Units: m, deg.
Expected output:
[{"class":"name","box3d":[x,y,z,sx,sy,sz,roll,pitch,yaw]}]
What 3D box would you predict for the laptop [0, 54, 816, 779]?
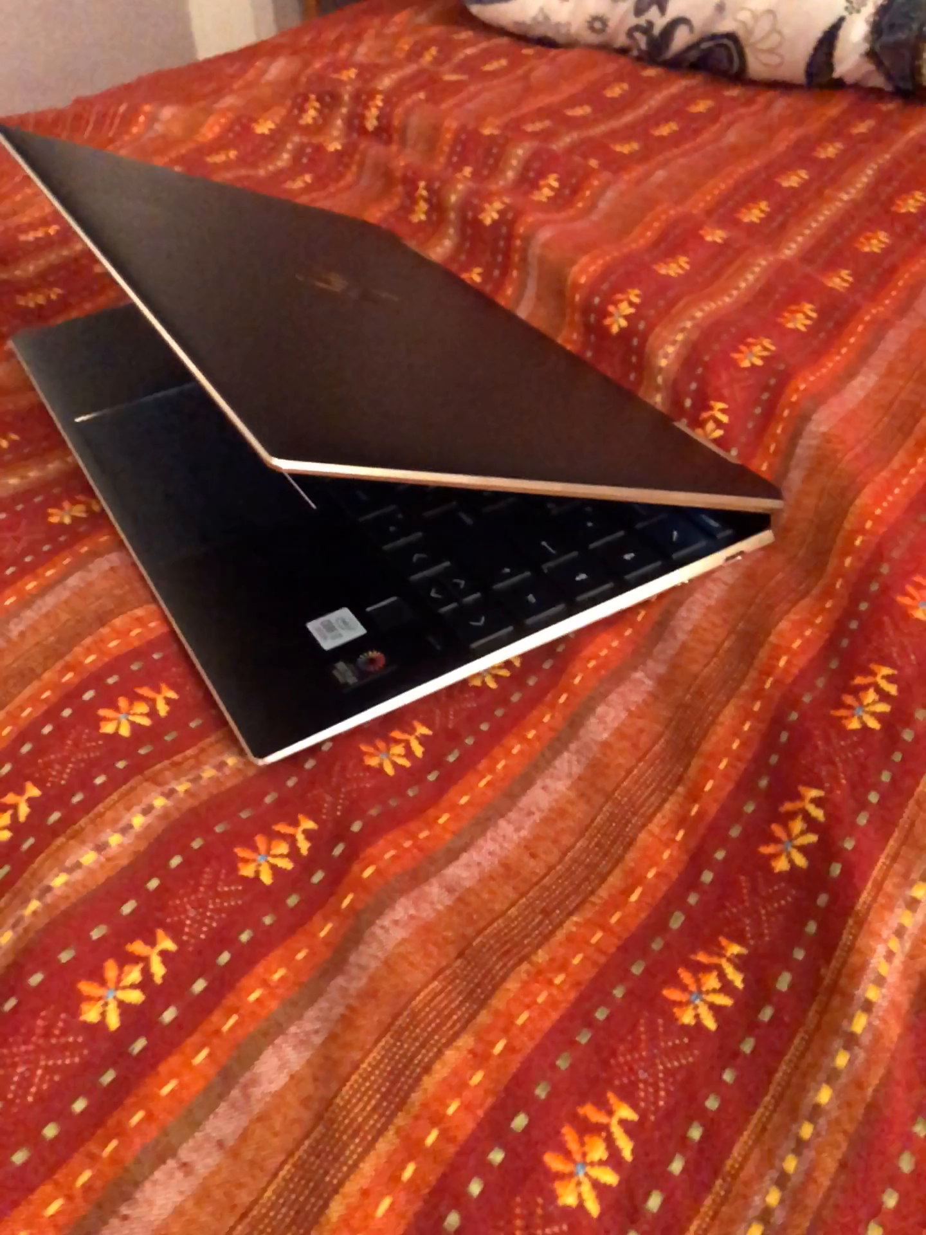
[{"class":"laptop","box3d":[-0.055,-0.123,0.391,0.203,0.101,0.327,-21,42,-23]}]
